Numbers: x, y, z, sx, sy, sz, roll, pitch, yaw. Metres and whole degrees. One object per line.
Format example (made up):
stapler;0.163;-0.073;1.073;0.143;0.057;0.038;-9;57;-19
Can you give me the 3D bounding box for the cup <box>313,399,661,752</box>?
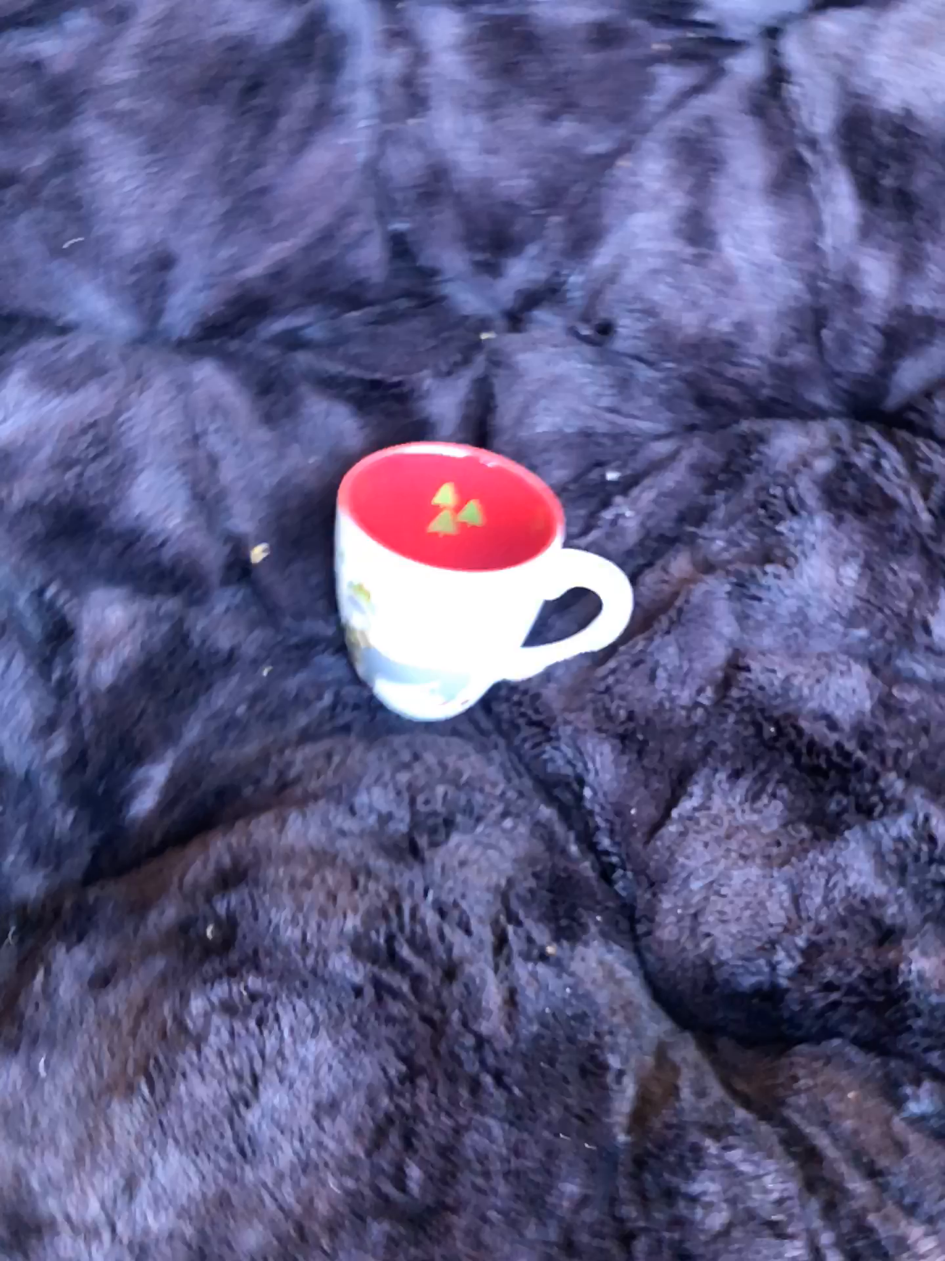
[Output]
cup;0.004;-0.025;0.500;0.140;0.110;0.100;8;45;-2
